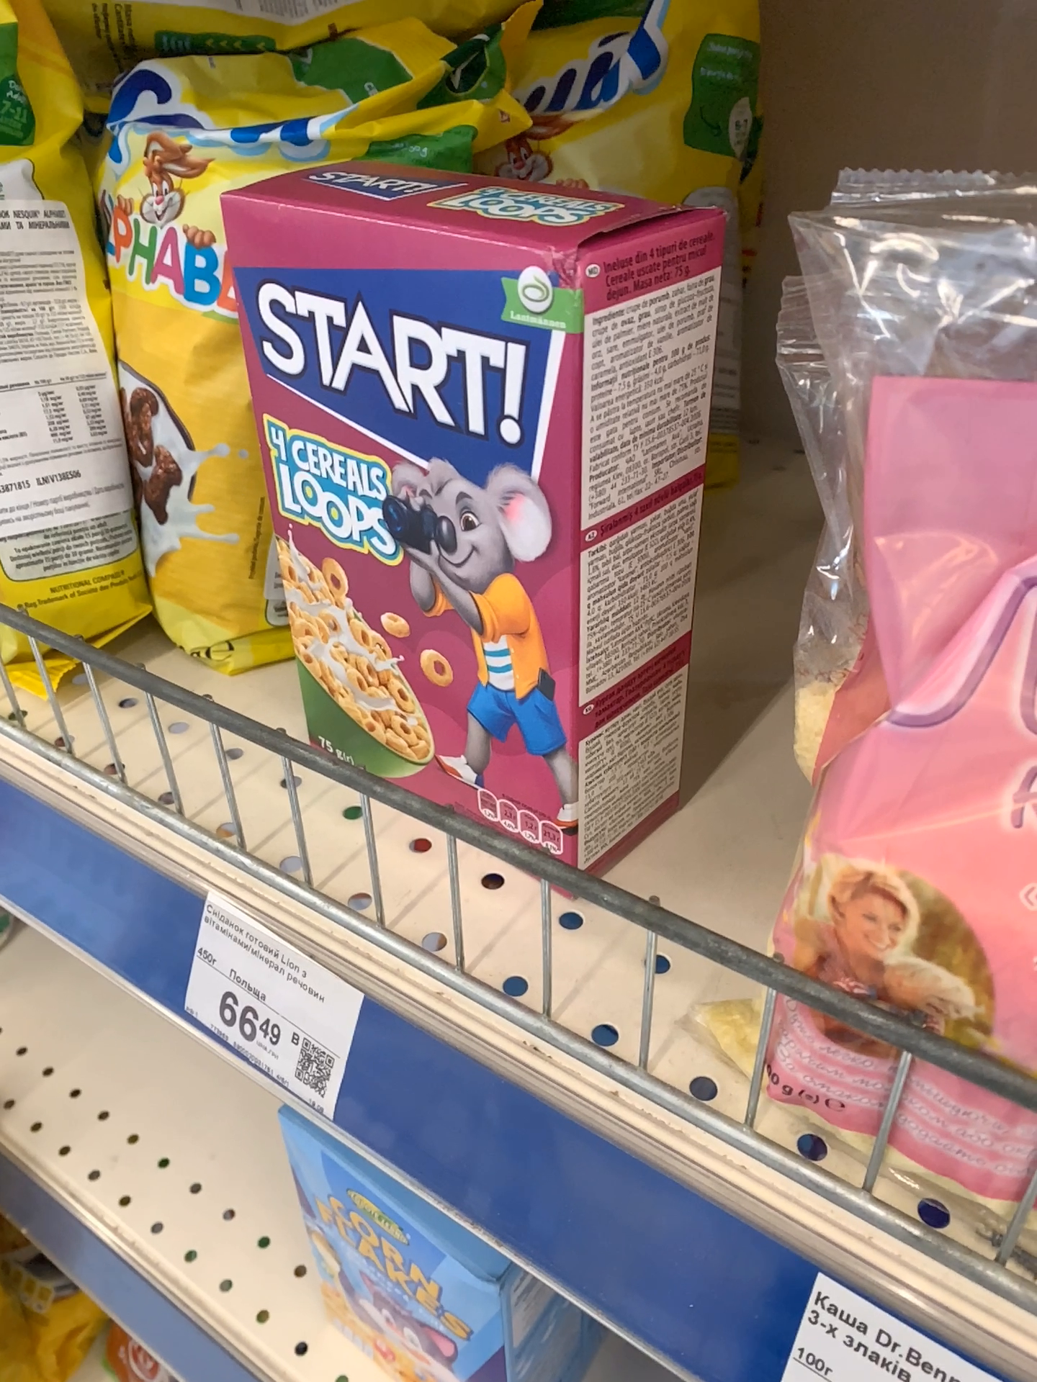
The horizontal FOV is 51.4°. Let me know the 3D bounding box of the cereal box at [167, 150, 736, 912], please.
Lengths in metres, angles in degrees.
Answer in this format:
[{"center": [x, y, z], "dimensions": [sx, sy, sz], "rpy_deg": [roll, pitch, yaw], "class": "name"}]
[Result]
[{"center": [-0.016, -0.042, 0.275], "dimensions": [0.120, 0.159, 0.050], "rpy_deg": [25, 43, 33], "class": "cereal box"}]
